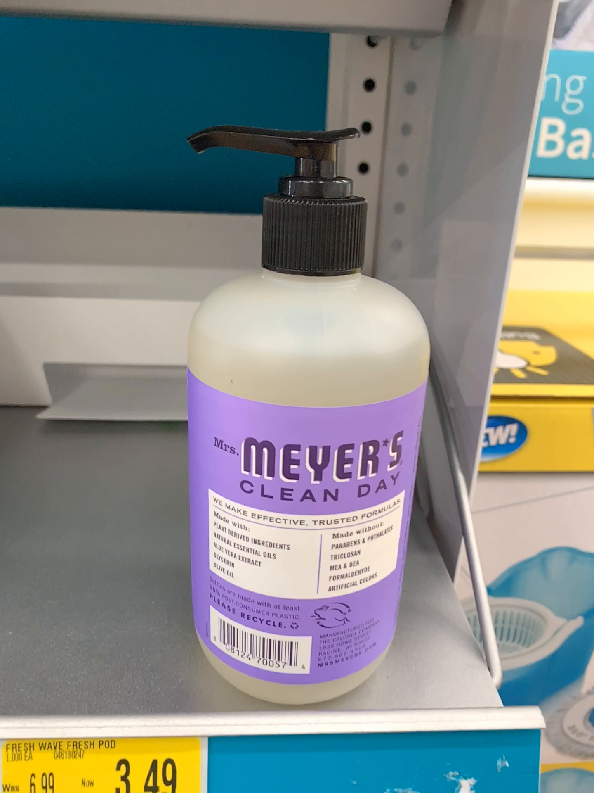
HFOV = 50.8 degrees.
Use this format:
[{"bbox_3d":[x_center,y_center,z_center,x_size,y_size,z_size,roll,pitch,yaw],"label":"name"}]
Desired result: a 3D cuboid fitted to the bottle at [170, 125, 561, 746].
[{"bbox_3d":[0.007,0.009,0.185,0.080,0.159,0.070,-2,22,-11],"label":"bottle"}]
